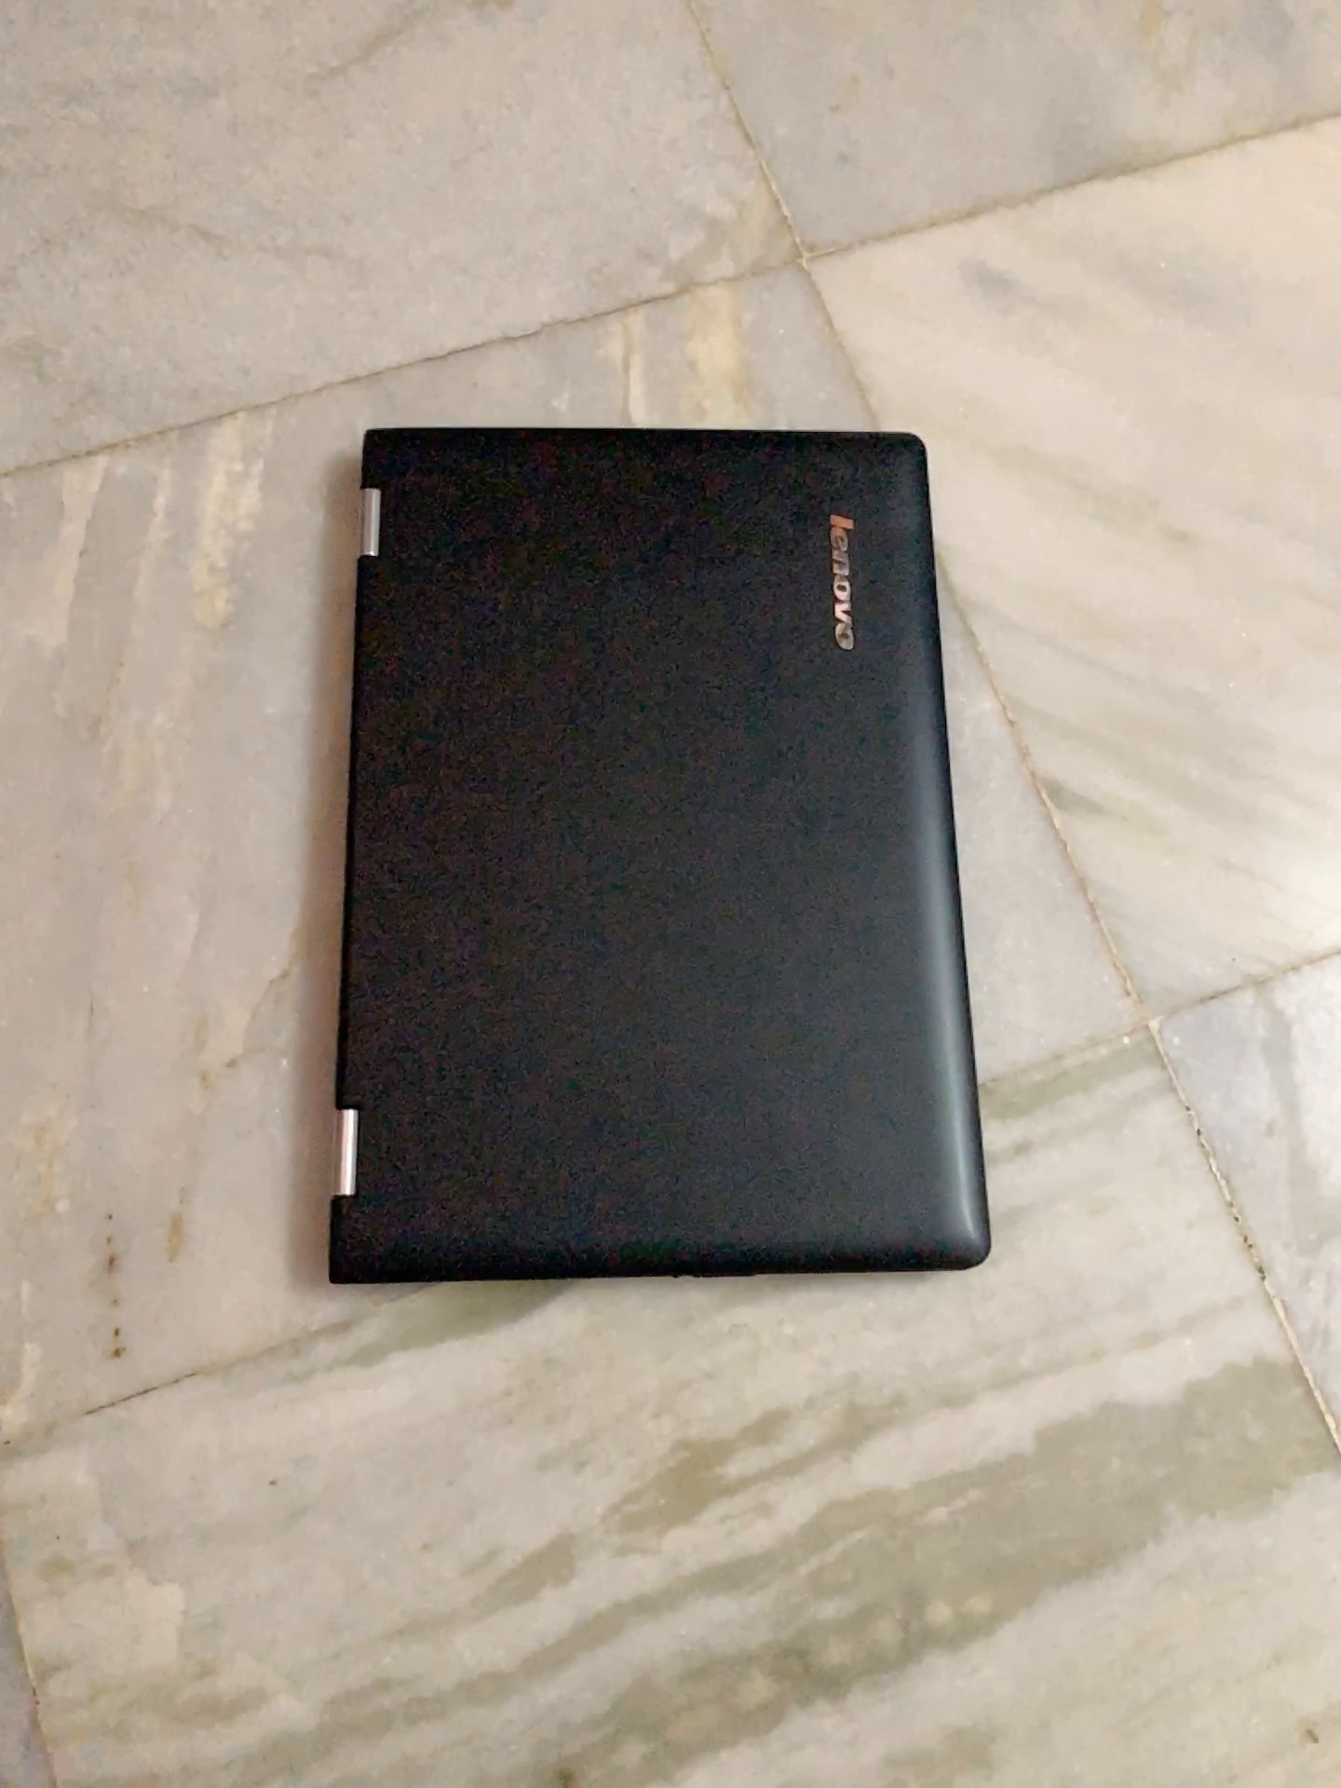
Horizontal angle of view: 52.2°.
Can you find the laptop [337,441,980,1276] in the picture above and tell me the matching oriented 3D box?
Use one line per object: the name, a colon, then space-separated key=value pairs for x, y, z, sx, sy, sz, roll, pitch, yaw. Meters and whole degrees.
laptop: x=-0.006 y=-0.028 z=0.517 sx=0.223 sy=0.001 sz=0.325 roll=0 pitch=75 yaw=-3
